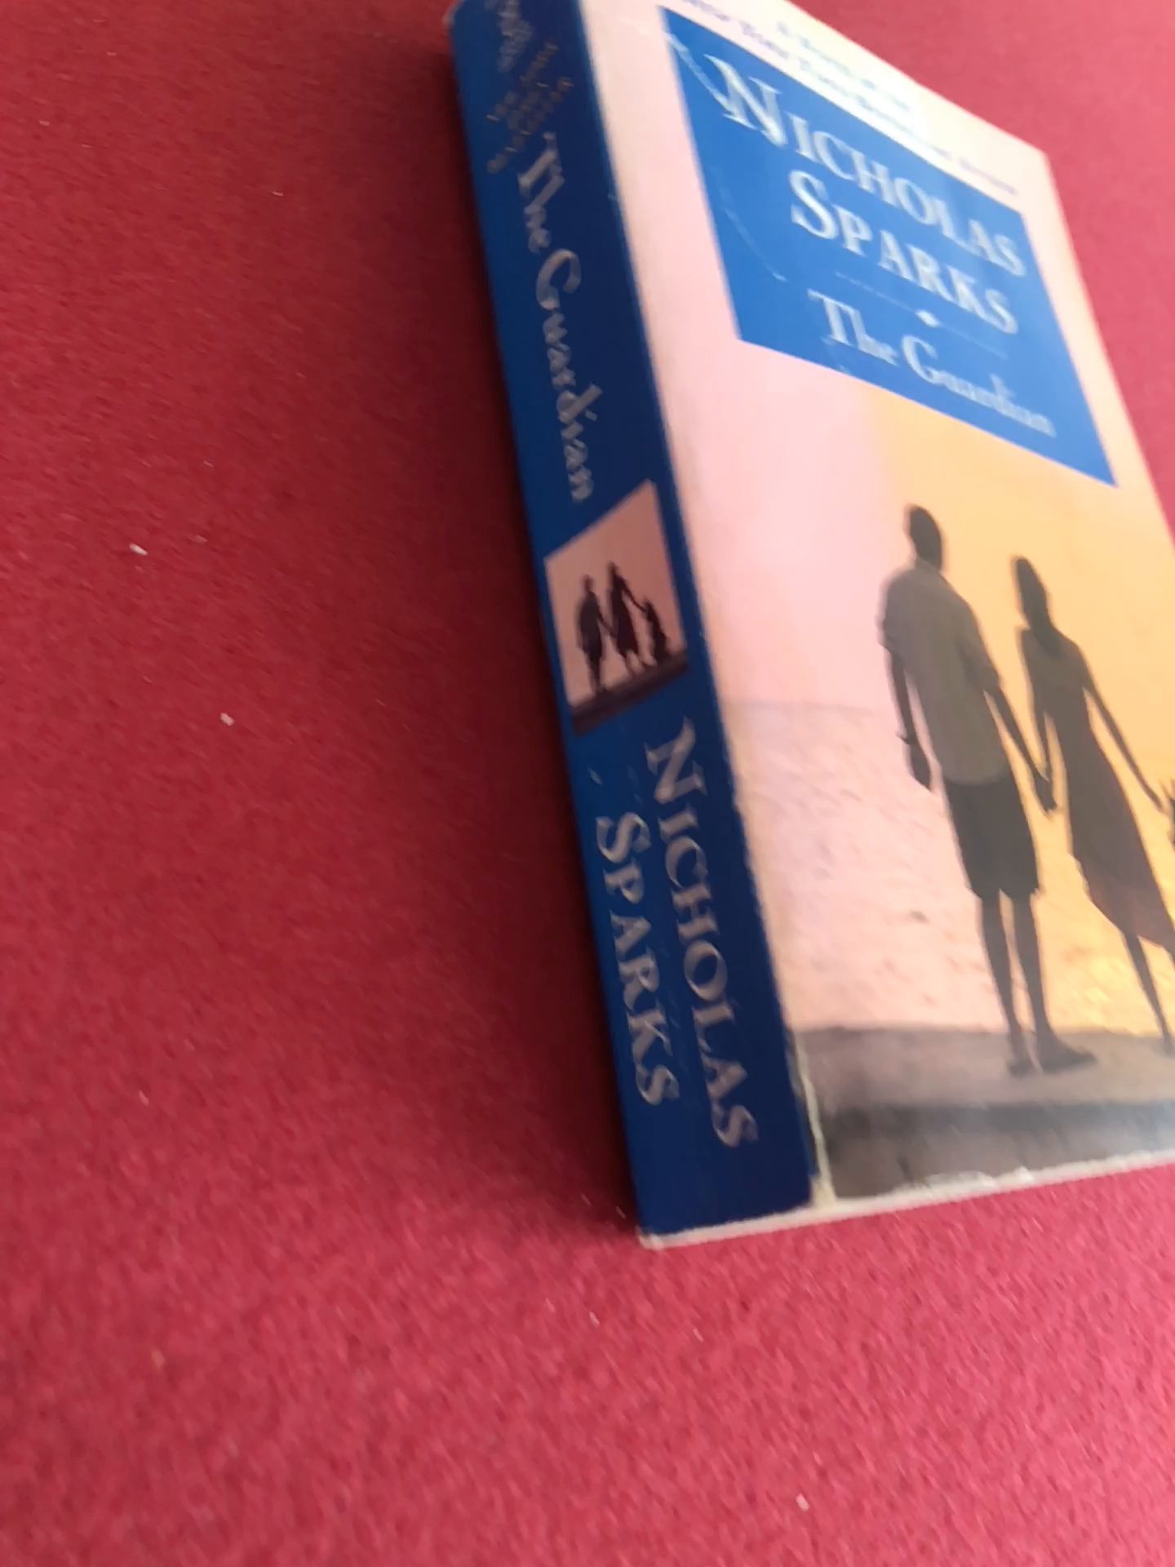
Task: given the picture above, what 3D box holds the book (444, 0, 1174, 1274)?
[{"bbox_3d":[0.046,-0.032,0.179,0.111,0.030,0.170,8,62,-36],"label":"book"}]
